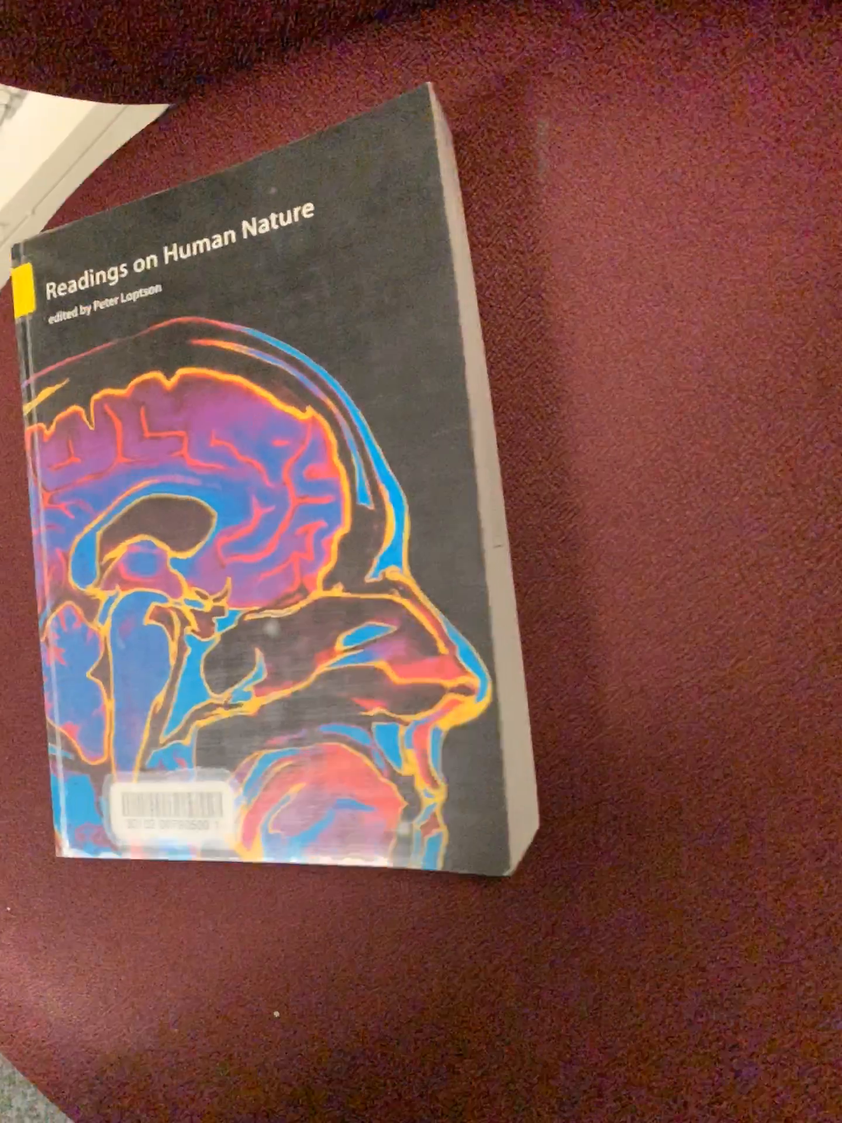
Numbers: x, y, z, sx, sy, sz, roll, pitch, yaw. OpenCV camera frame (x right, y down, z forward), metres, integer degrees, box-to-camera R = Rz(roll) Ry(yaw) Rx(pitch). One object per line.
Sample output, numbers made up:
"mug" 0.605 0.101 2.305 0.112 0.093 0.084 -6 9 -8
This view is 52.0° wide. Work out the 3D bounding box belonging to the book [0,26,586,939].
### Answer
"book" -0.061 -0.016 0.282 0.200 0.040 0.240 -7 81 25
